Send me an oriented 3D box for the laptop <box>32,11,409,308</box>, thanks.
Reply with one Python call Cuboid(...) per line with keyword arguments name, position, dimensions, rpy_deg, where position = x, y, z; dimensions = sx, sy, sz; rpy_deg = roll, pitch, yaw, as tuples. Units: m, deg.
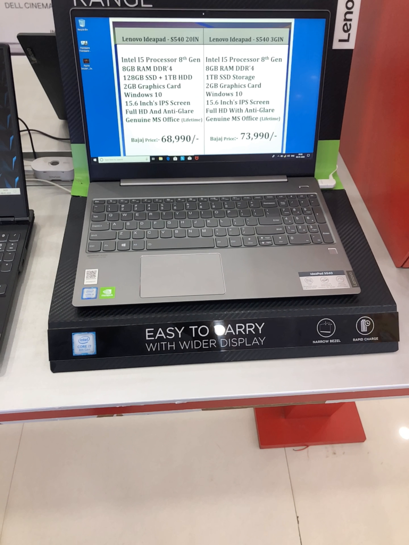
Cuboid(name="laptop", position=(0.011, -0.157, 0.562), dimensions=(0.336, 0.194, 0.325), rpy_deg=(-2, 50, -5))
